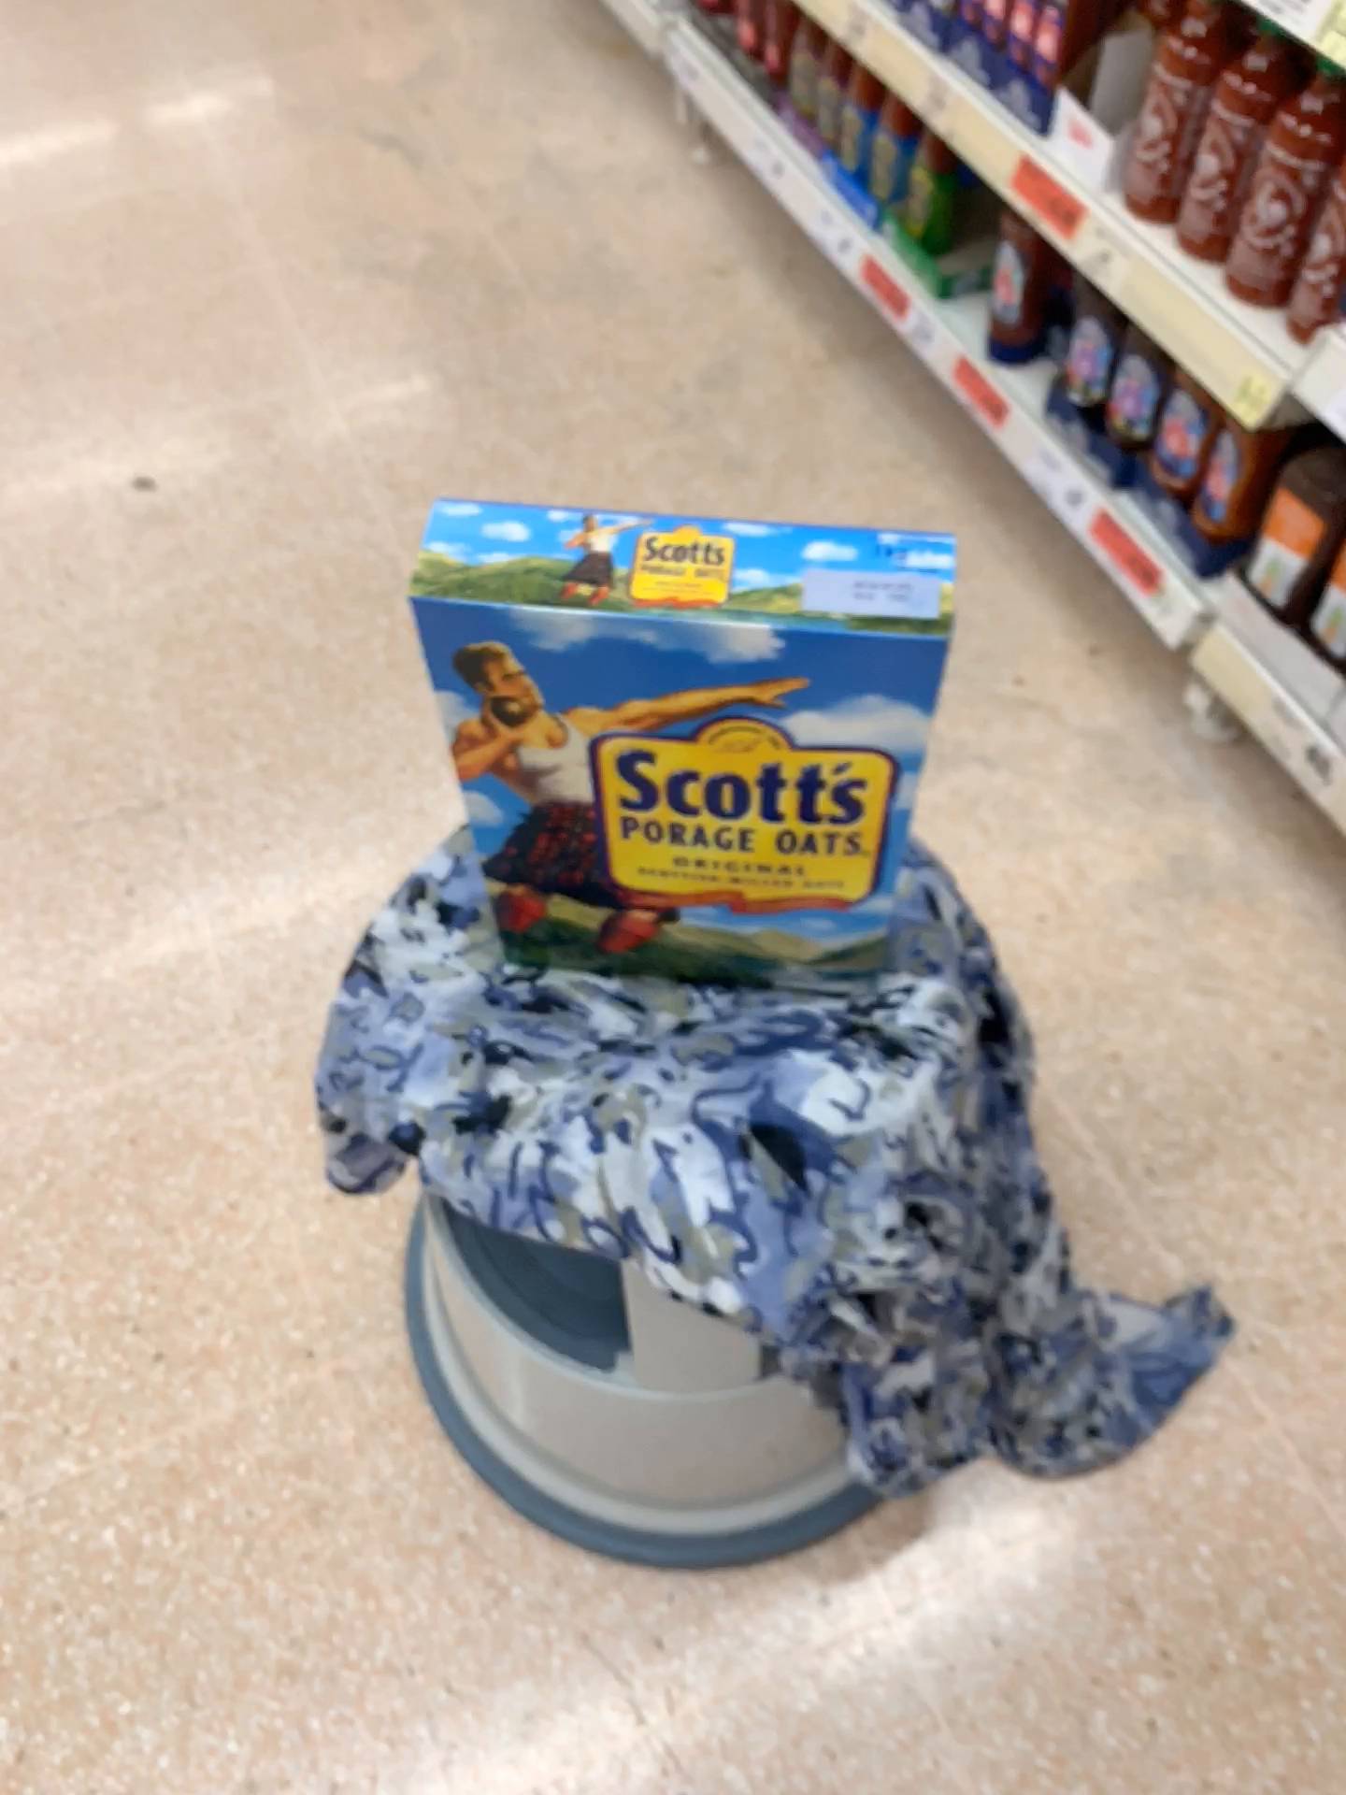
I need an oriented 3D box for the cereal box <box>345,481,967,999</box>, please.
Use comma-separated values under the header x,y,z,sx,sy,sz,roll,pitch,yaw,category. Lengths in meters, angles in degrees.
x,y,z,sx,sy,sz,roll,pitch,yaw,category
0.000,-0.052,0.590,0.210,0.248,0.060,5,58,6,cereal box
